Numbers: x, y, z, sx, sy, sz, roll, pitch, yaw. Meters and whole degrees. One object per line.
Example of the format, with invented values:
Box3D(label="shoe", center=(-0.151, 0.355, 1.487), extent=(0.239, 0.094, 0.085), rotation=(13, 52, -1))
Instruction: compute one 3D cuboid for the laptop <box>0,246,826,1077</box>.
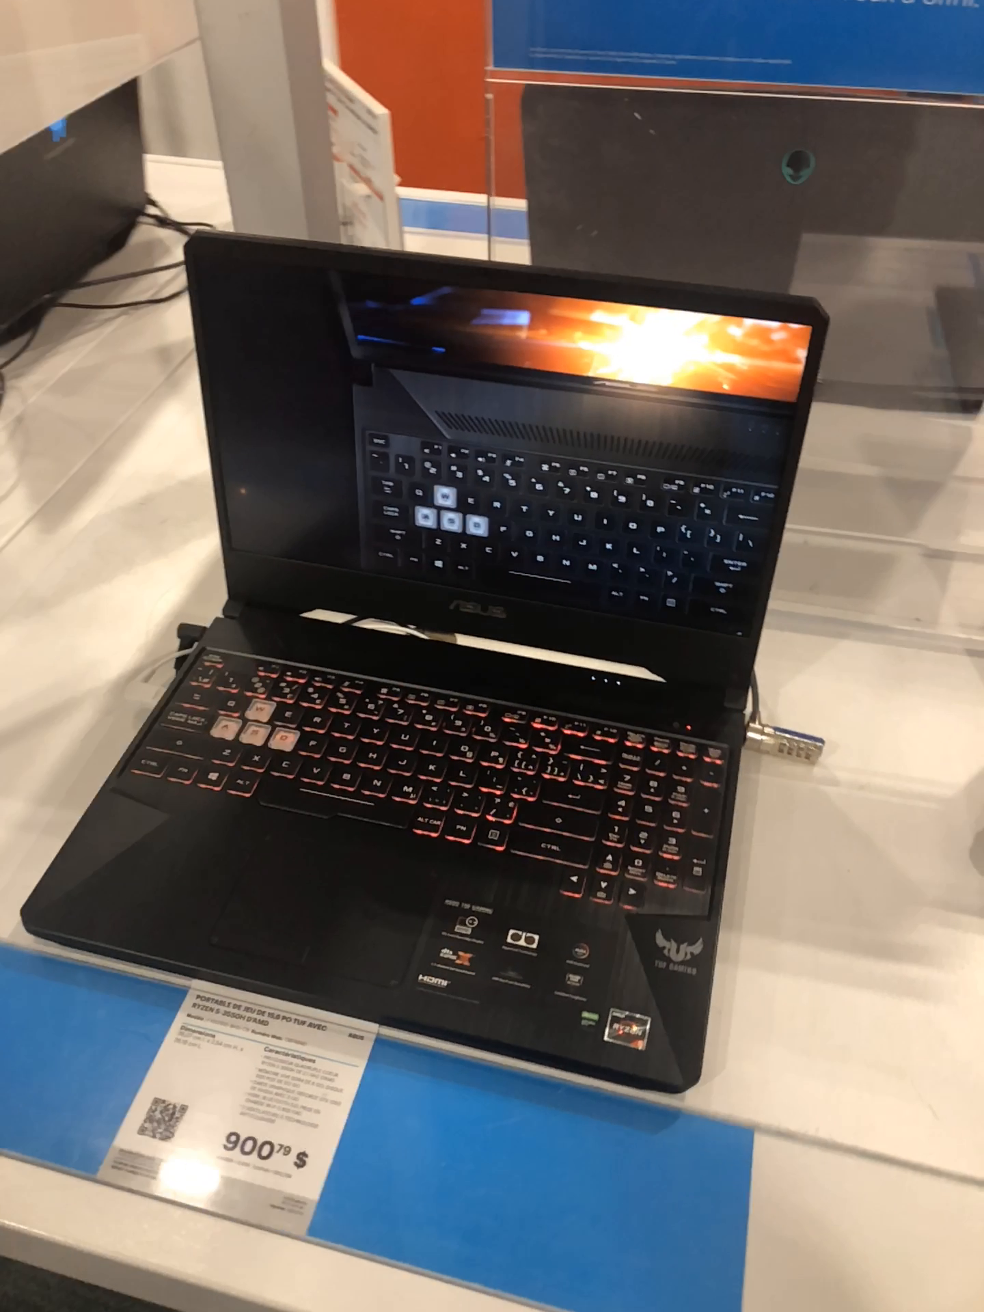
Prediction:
Box3D(label="laptop", center=(-0.039, -0.019, 0.558), extent=(0.350, 0.235, 0.302), rotation=(10, 44, 11))
